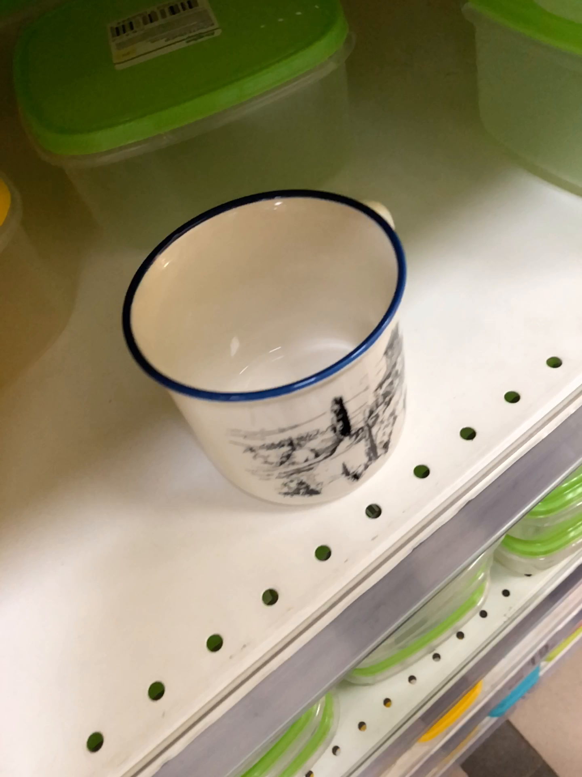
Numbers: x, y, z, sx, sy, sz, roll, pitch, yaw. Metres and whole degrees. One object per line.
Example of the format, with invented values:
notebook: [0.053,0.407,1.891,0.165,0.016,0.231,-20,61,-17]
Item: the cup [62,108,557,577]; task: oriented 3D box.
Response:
cup: [0.010,-0.024,0.238,0.103,0.068,0.130,34,69,31]
